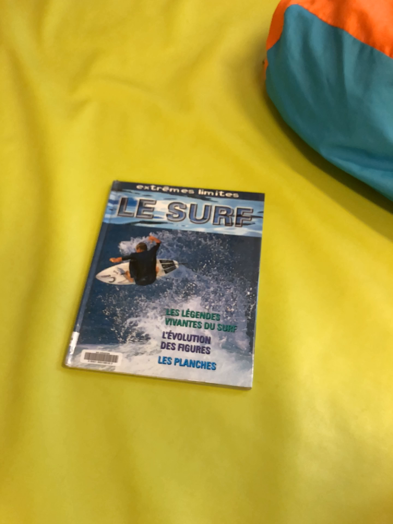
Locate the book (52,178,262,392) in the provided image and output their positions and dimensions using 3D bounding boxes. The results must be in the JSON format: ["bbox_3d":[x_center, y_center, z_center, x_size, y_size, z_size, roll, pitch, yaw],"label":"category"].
[{"bbox_3d":[-0.037,0.014,0.561,0.226,0.016,0.274,6,62,4],"label":"book"}]
